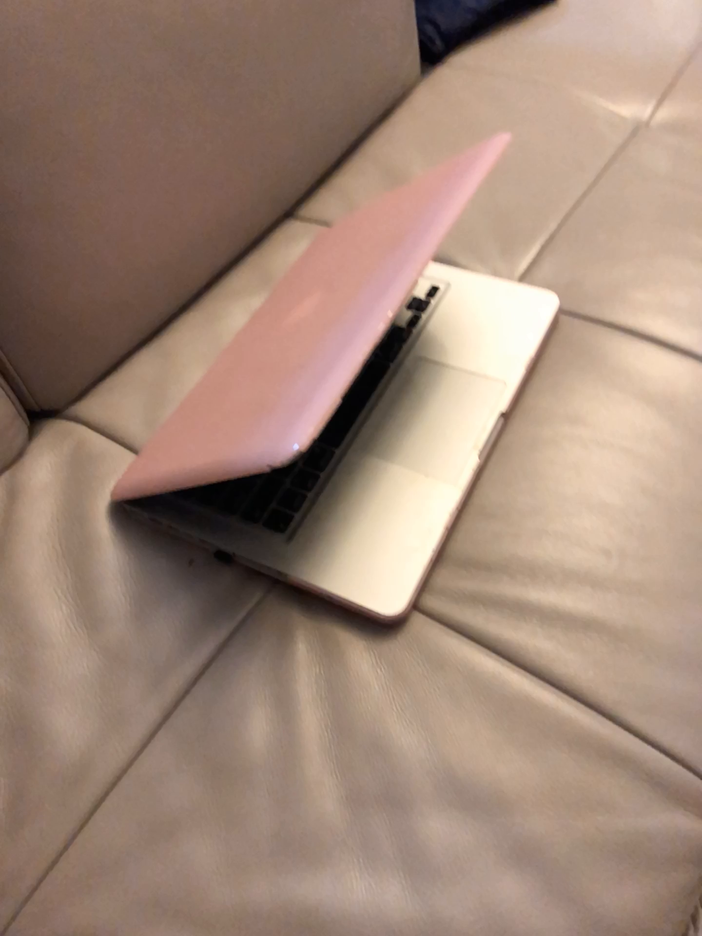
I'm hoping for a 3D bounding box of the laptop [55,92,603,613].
[{"bbox_3d":[0.004,-0.098,0.532,0.220,0.145,0.308,20,58,19],"label":"laptop"}]
